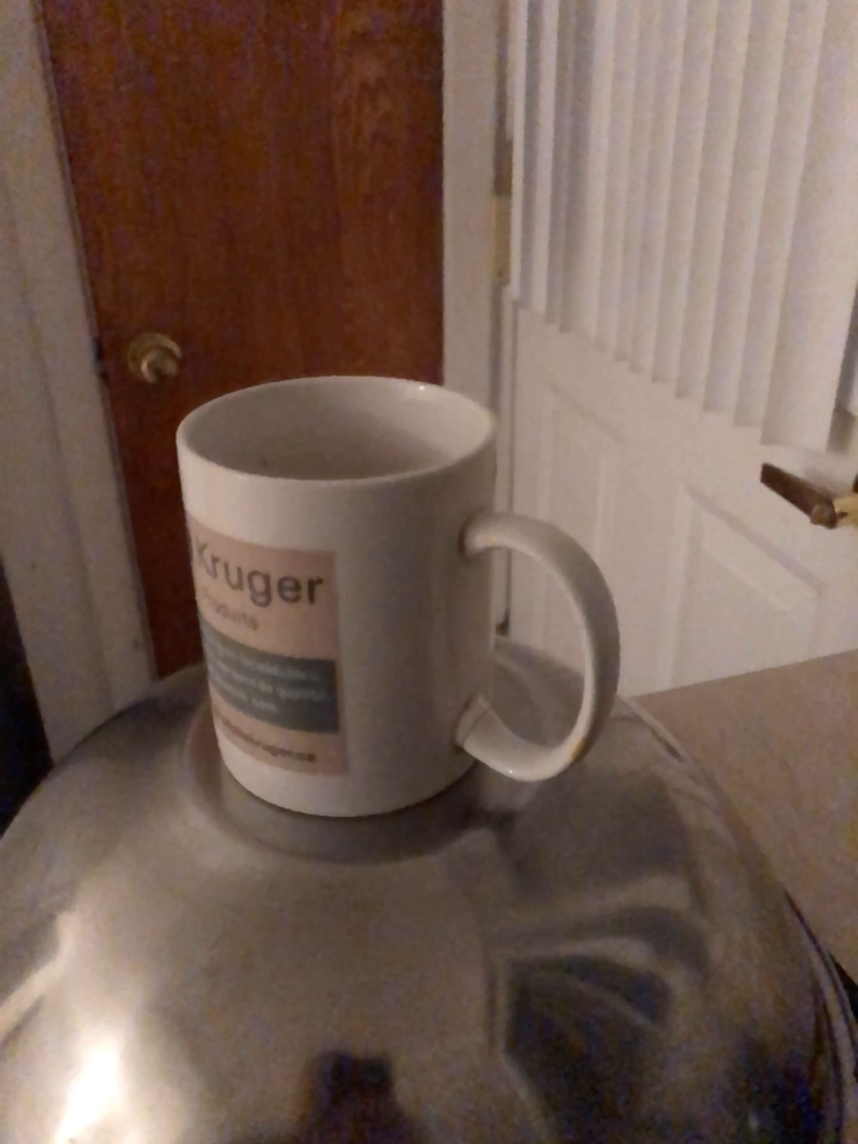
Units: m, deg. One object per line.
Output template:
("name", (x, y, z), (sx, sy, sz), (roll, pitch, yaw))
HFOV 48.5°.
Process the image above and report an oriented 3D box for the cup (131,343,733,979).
("cup", (-0.001, 0.011, 0.262), (0.120, 0.109, 0.090), (23, 36, 37))
